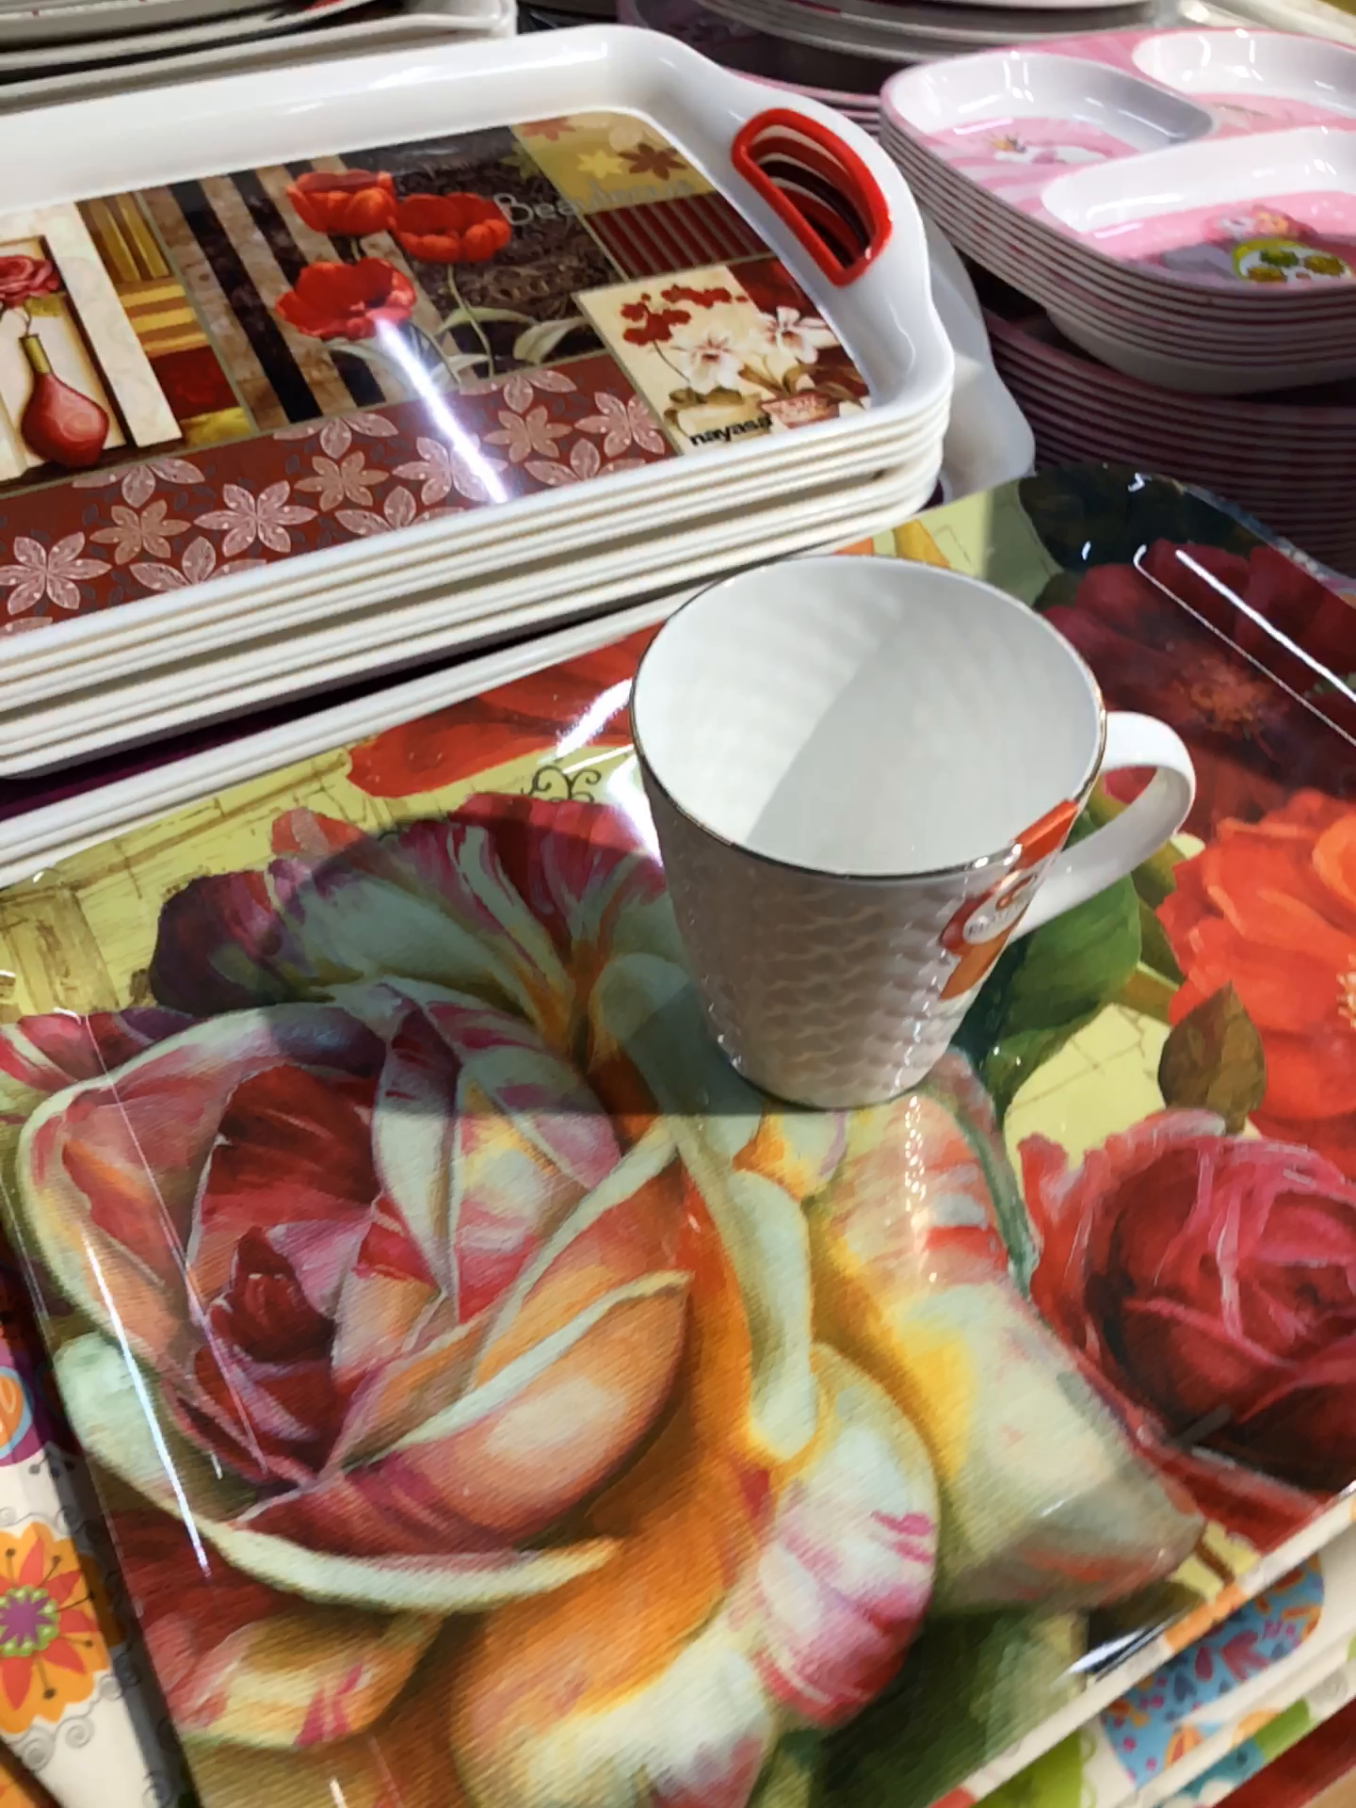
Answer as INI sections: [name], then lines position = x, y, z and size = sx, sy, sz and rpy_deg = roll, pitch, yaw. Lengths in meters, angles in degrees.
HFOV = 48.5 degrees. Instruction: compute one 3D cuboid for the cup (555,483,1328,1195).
[cup]
position = 0.044, -0.016, 0.319
size = 0.120, 0.089, 0.101
rpy_deg = -9, 48, -8
